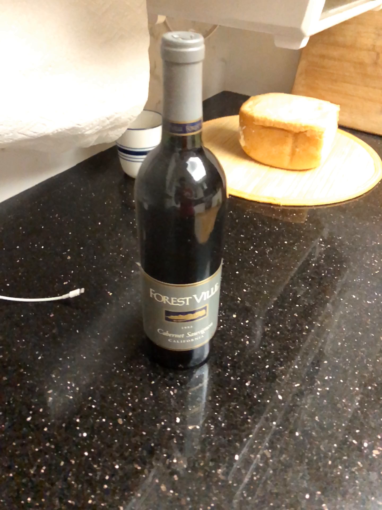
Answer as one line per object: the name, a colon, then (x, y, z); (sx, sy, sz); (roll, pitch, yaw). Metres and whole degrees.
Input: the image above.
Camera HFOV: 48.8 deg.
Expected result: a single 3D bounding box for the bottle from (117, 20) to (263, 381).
bottle: (-0.010, -0.024, 0.362); (0.080, 0.298, 0.091); (-5, 39, -8)
